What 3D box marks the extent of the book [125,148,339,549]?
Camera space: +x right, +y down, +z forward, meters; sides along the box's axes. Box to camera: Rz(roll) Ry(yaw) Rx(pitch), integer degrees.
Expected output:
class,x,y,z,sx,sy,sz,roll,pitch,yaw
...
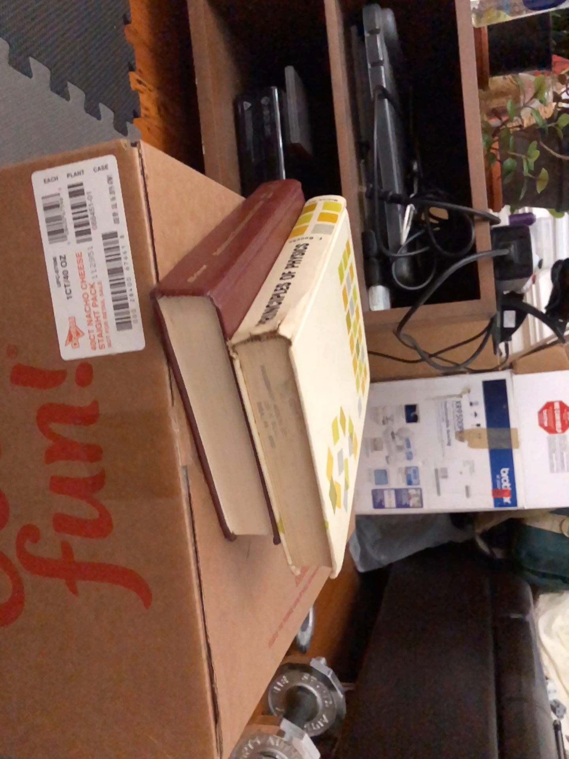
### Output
class,x,y,z,sx,sy,sz,roll,pitch,yaw
book,-0.012,-0.041,0.430,0.251,0.040,0.180,-69,149,-60

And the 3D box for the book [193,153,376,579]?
class,x,y,z,sx,sy,sz,roll,pitch,yaw
book,0.021,-0.029,0.420,0.251,0.040,0.180,-72,151,-57
